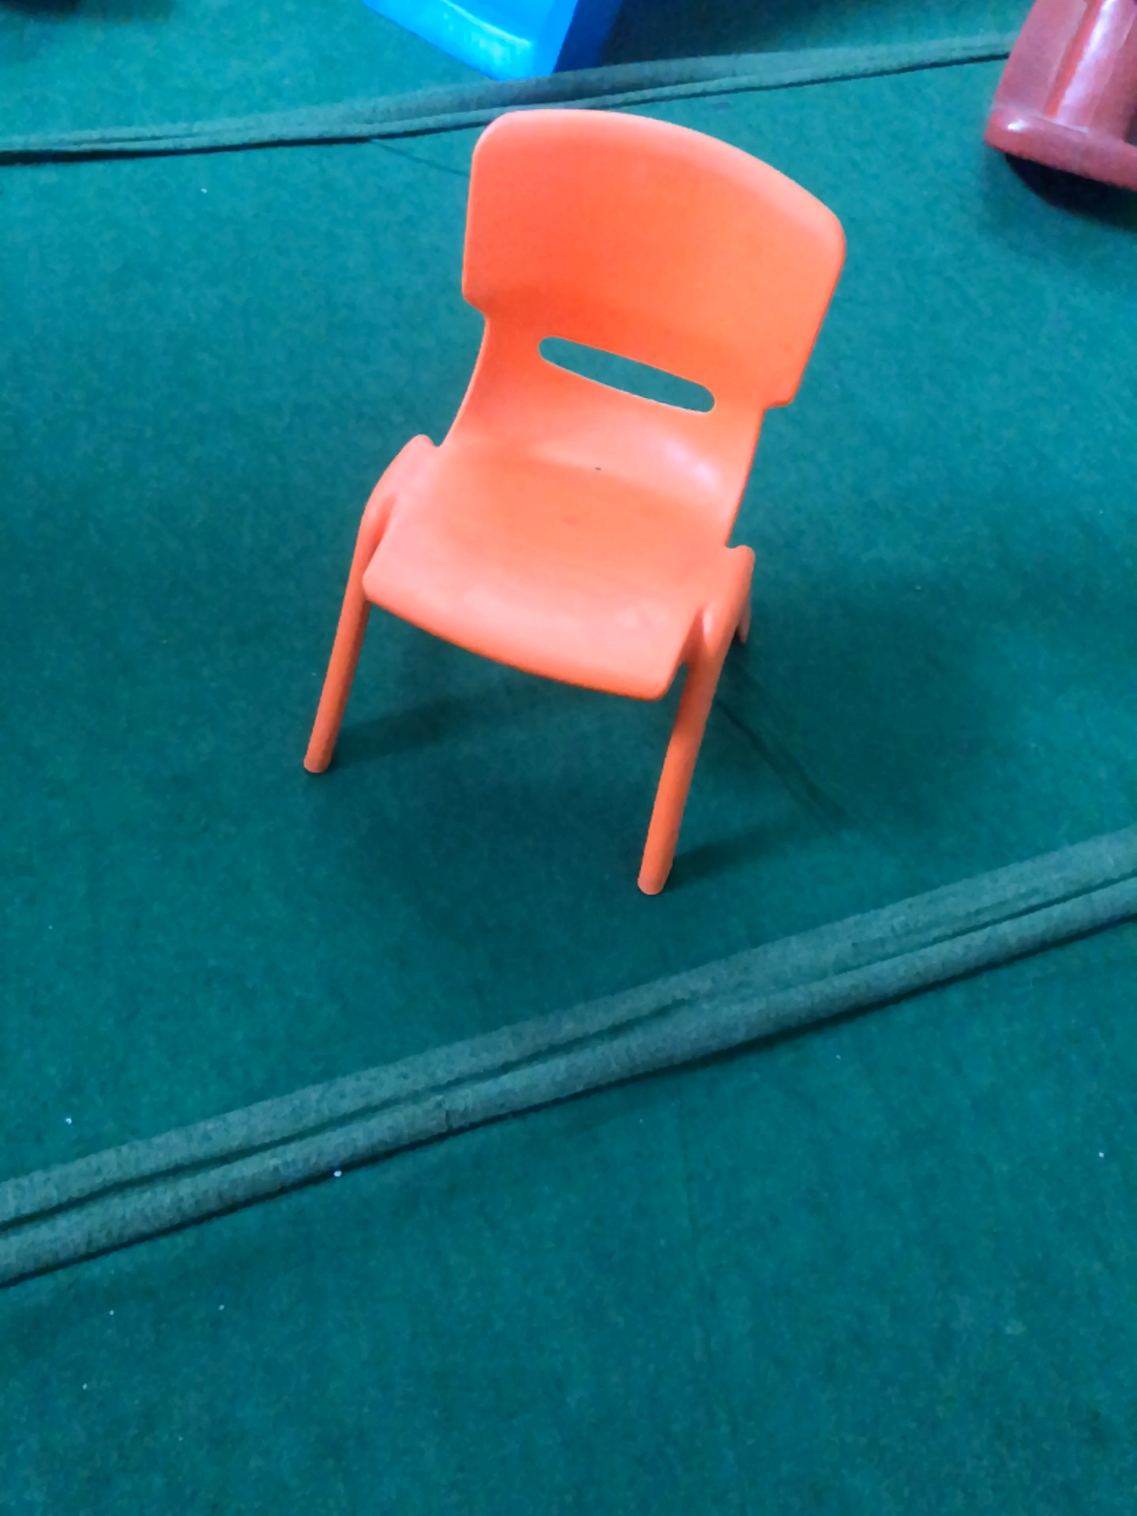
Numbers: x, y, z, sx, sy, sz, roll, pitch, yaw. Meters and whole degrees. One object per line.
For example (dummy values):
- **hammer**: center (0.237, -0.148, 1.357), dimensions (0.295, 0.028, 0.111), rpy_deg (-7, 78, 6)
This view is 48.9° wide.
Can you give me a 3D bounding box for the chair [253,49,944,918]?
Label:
- **chair**: center (0.015, -0.201, 1.032), dimensions (0.360, 0.479, 0.391), rpy_deg (20, 56, 5)
